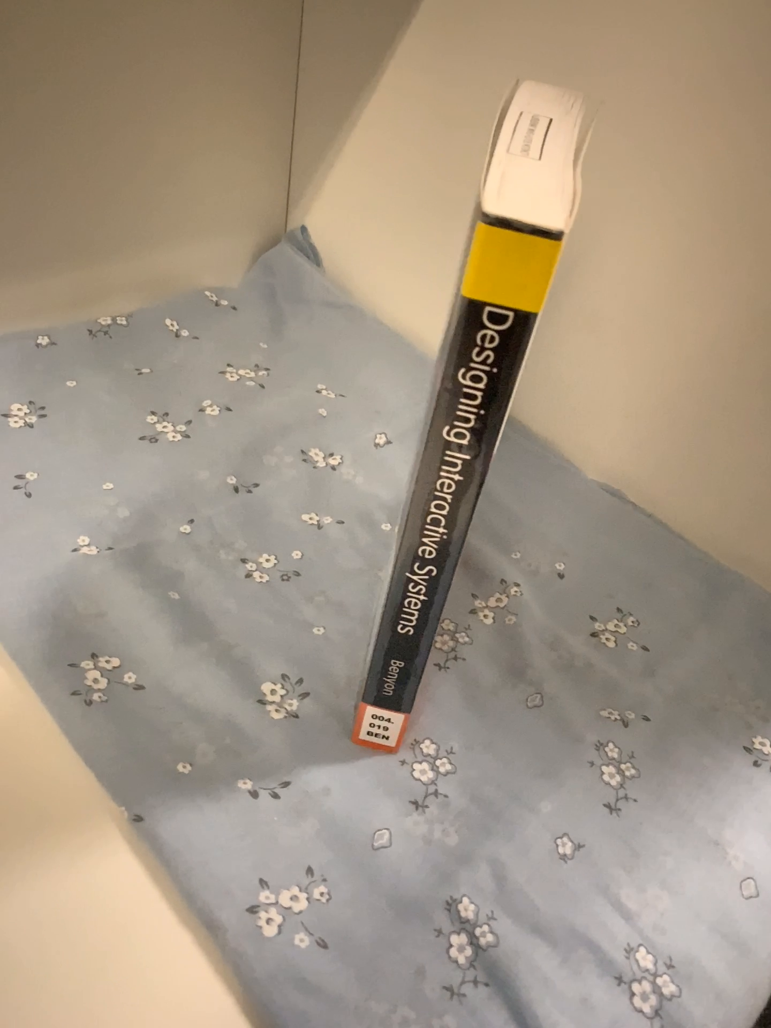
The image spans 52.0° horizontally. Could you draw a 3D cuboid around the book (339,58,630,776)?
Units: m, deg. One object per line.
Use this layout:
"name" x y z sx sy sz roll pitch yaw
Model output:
"book" 0.042 -0.047 0.380 0.040 0.269 0.217 15 39 2
